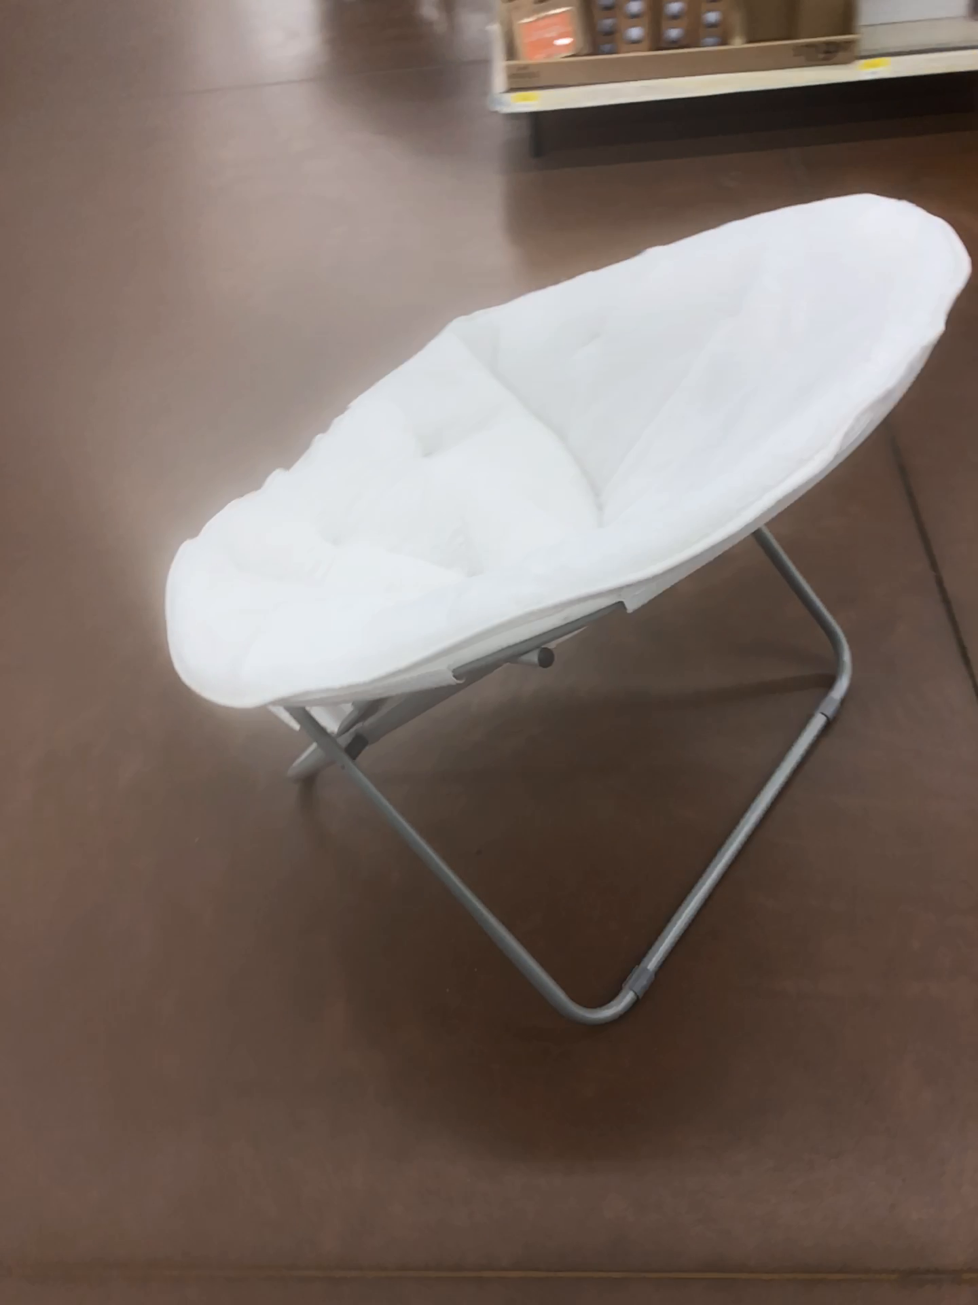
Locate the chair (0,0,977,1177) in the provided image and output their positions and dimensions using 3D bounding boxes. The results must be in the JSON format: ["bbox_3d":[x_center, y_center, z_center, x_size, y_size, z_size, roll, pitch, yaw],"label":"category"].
[{"bbox_3d":[0.003,-0.136,1.085,0.751,0.648,0.761,27,58,28],"label":"chair"}]
